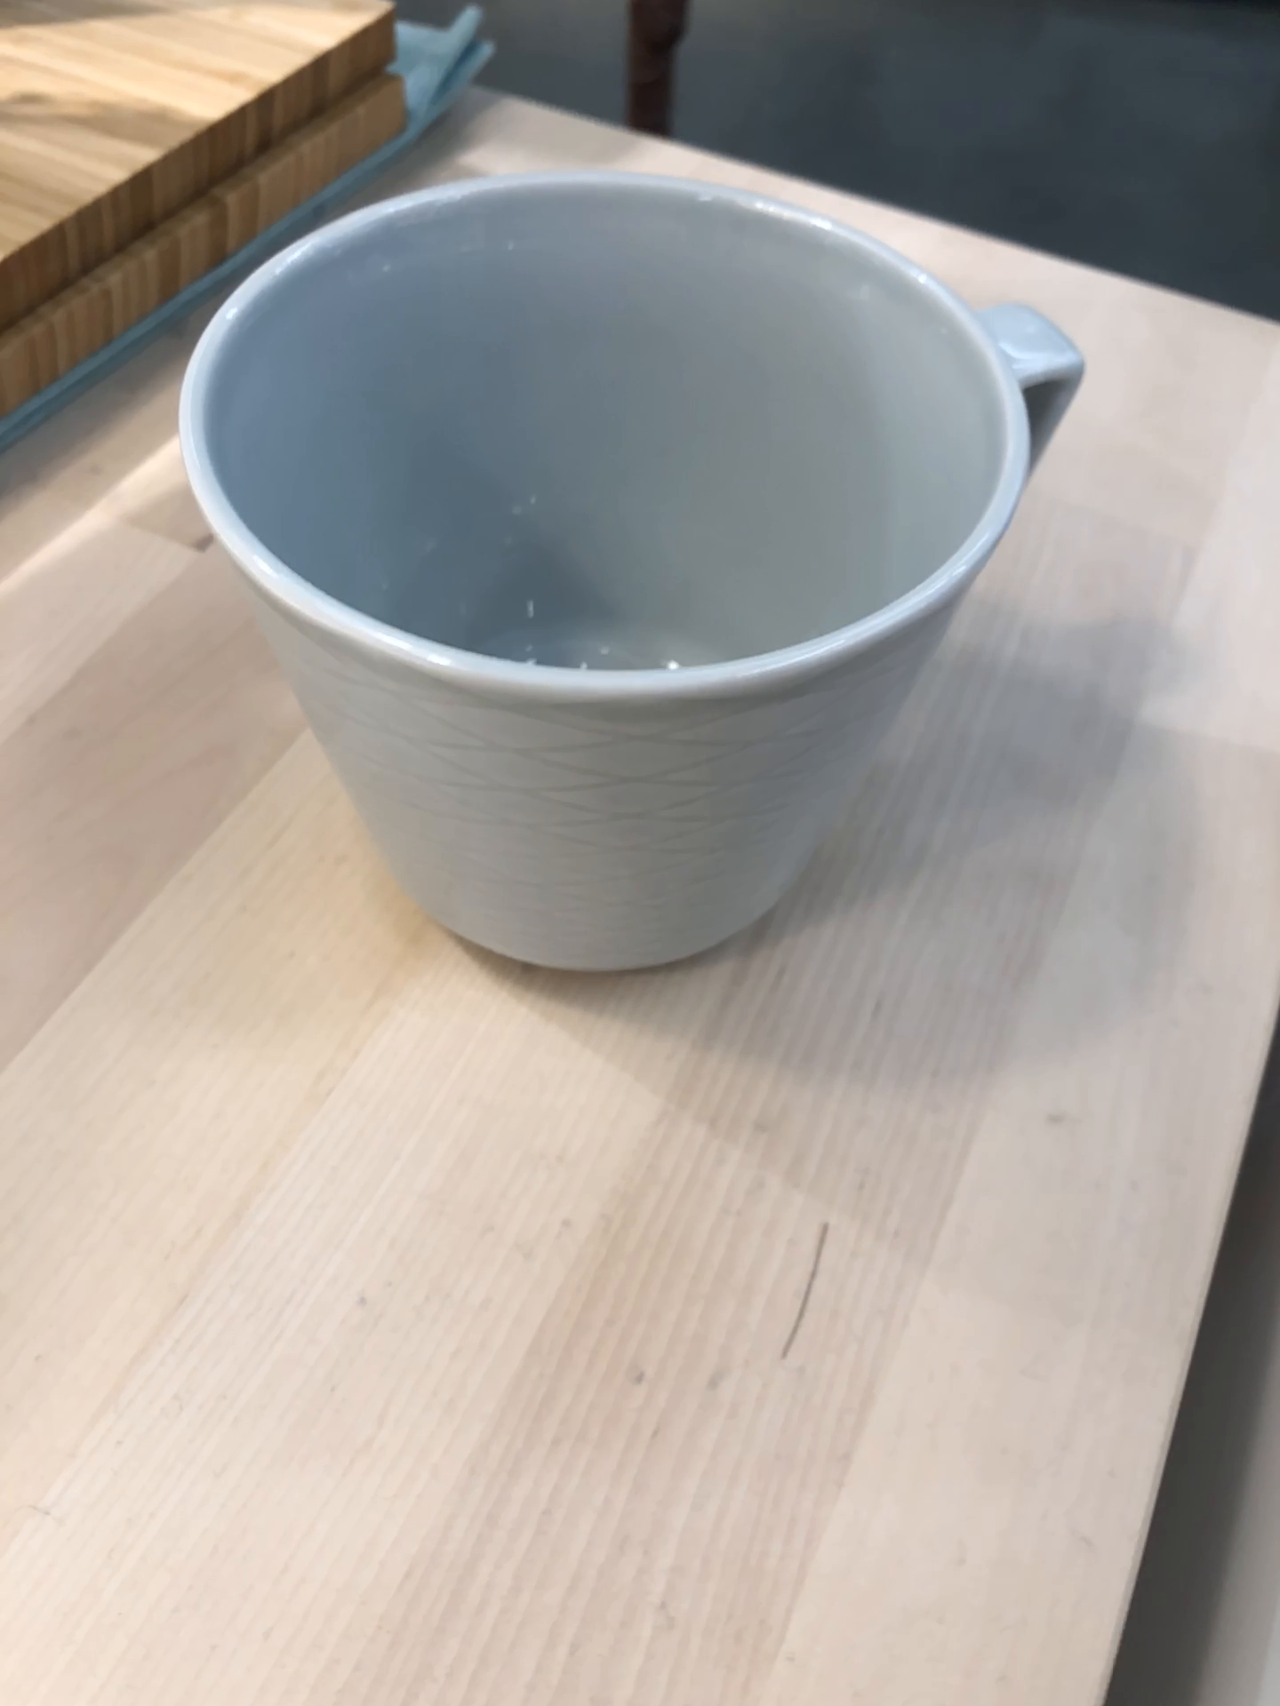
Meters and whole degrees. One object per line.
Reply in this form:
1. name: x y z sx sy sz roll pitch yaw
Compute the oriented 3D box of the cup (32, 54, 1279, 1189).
1. cup: 0.006 -0.043 0.216 0.140 0.080 0.110 -22 57 -19
